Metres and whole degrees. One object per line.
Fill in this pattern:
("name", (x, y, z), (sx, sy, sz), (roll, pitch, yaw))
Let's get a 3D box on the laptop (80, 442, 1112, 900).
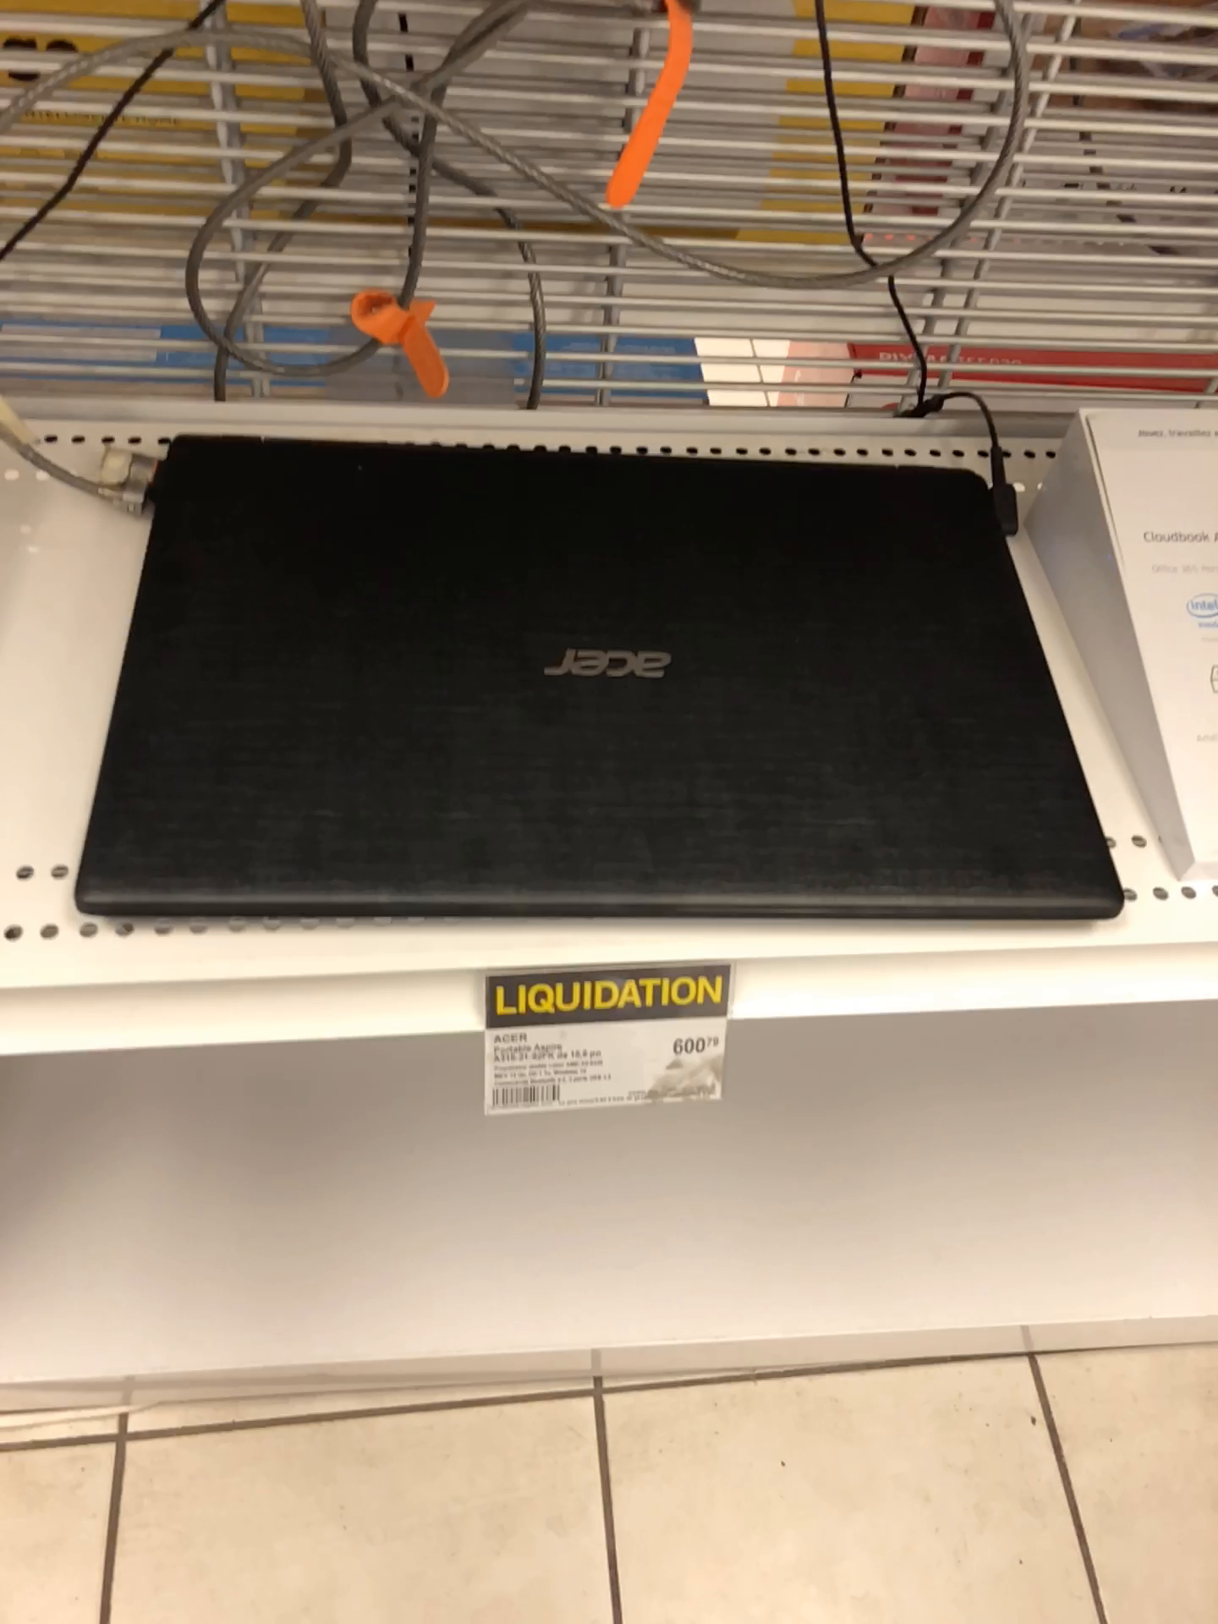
("laptop", (-0.001, -0.068, 0.557), (0.374, 0.003, 0.248), (1, 52, -7))
